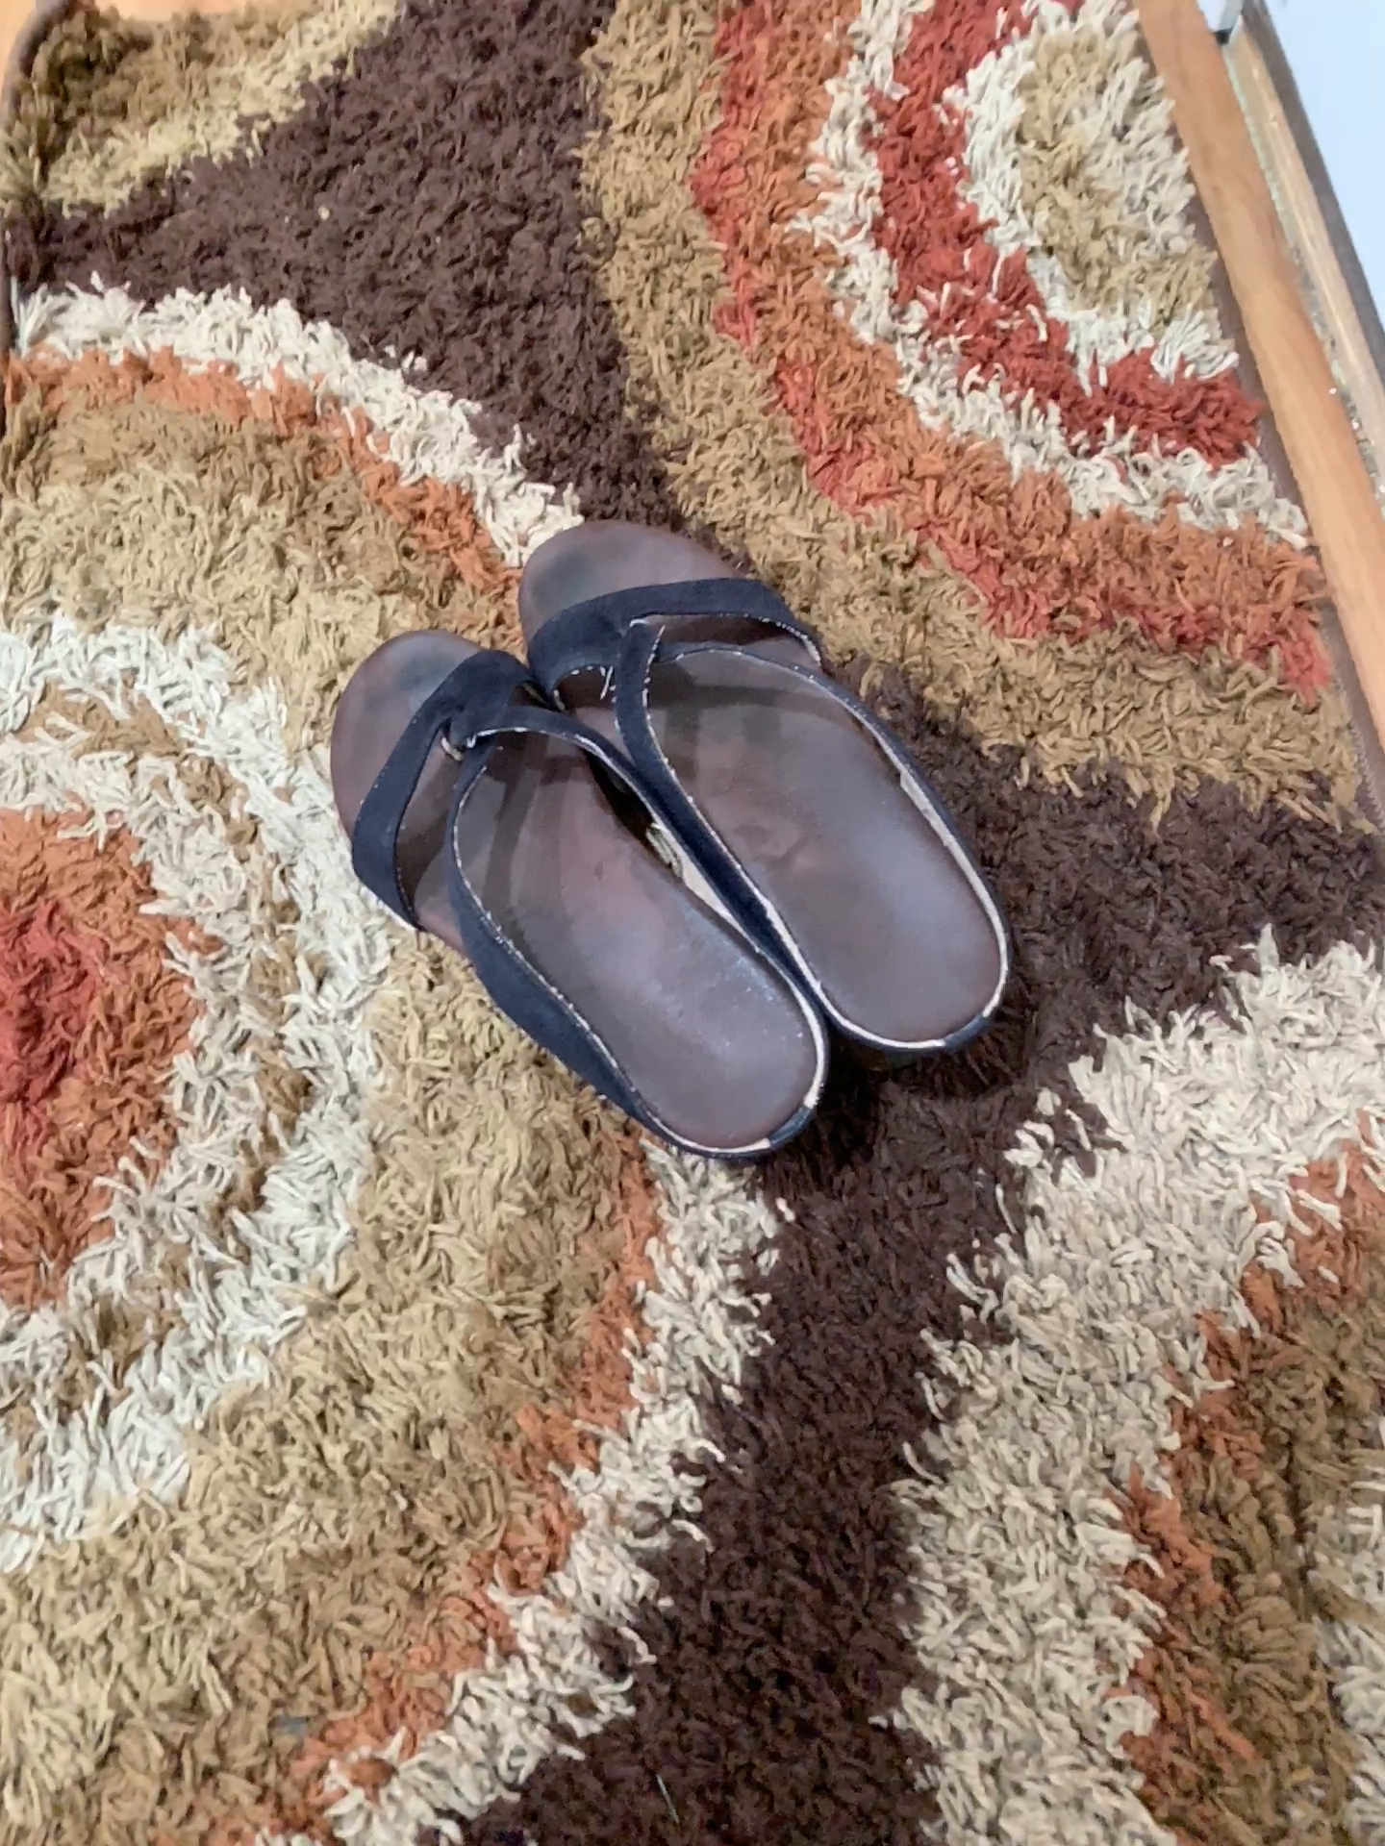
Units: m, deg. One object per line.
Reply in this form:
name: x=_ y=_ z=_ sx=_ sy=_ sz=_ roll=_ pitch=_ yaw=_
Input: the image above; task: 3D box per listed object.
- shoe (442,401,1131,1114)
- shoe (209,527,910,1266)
shoe: x=0.024 y=-0.056 z=0.450 sx=0.084 sy=0.052 sz=0.223 roll=-38 pitch=73 yaw=-8
shoe: x=-0.043 y=-0.011 z=0.447 sx=0.090 sy=0.062 sz=0.223 roll=-39 pitch=73 yaw=-9
